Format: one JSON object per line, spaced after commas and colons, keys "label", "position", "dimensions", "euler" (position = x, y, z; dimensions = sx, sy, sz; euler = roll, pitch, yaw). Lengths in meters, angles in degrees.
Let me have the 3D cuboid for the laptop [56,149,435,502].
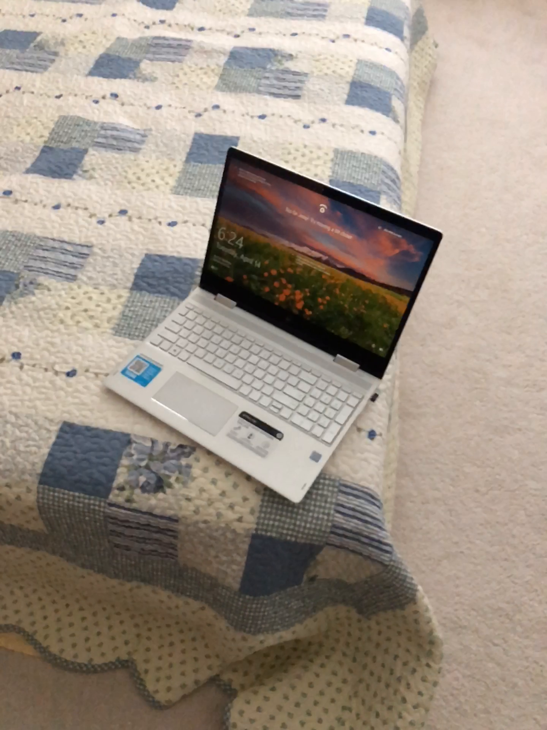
{"label": "laptop", "position": [-0.022, -0.075, 0.879], "dimensions": [0.355, 0.208, 0.358], "euler": [28, 59, 19]}
